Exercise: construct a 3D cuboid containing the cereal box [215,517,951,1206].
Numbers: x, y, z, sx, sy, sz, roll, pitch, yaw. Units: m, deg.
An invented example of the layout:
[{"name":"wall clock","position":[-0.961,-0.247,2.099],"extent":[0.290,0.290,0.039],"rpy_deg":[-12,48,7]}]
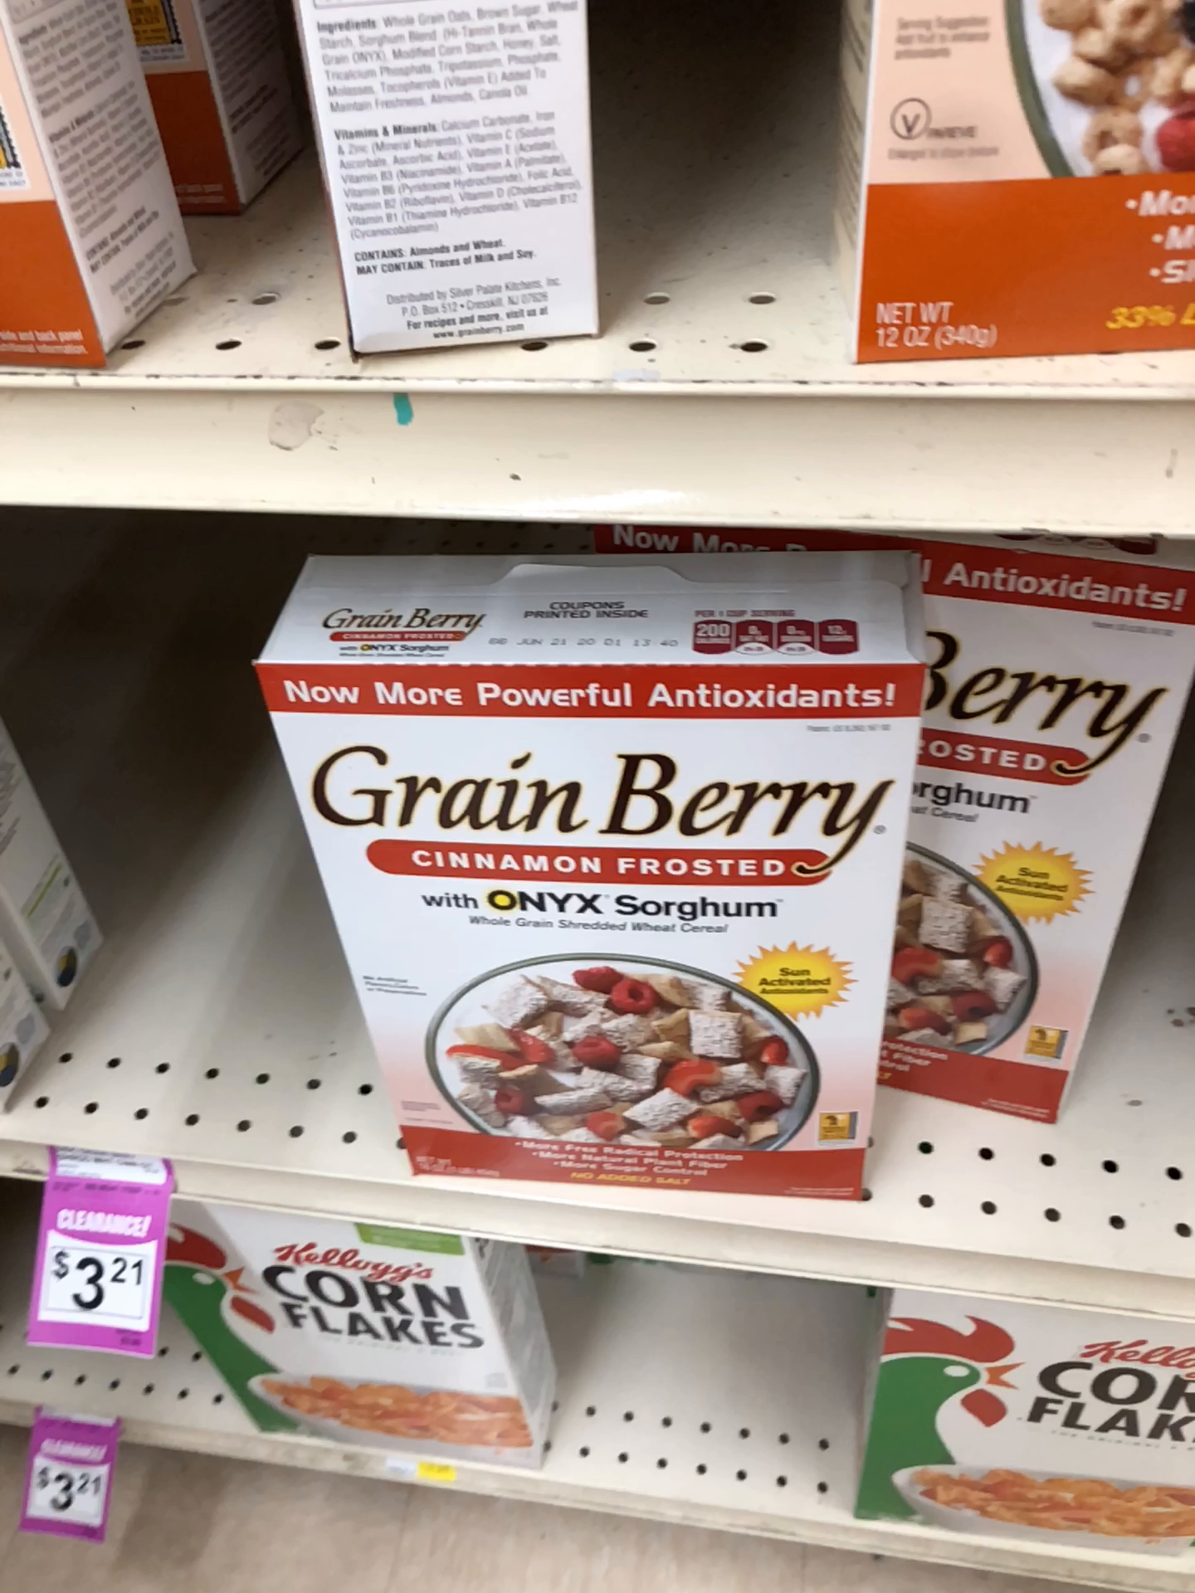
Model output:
[{"name":"cereal box","position":[0.006,0.039,0.478],"extent":[0.200,0.280,0.070],"rpy_deg":[2,44,7]}]
